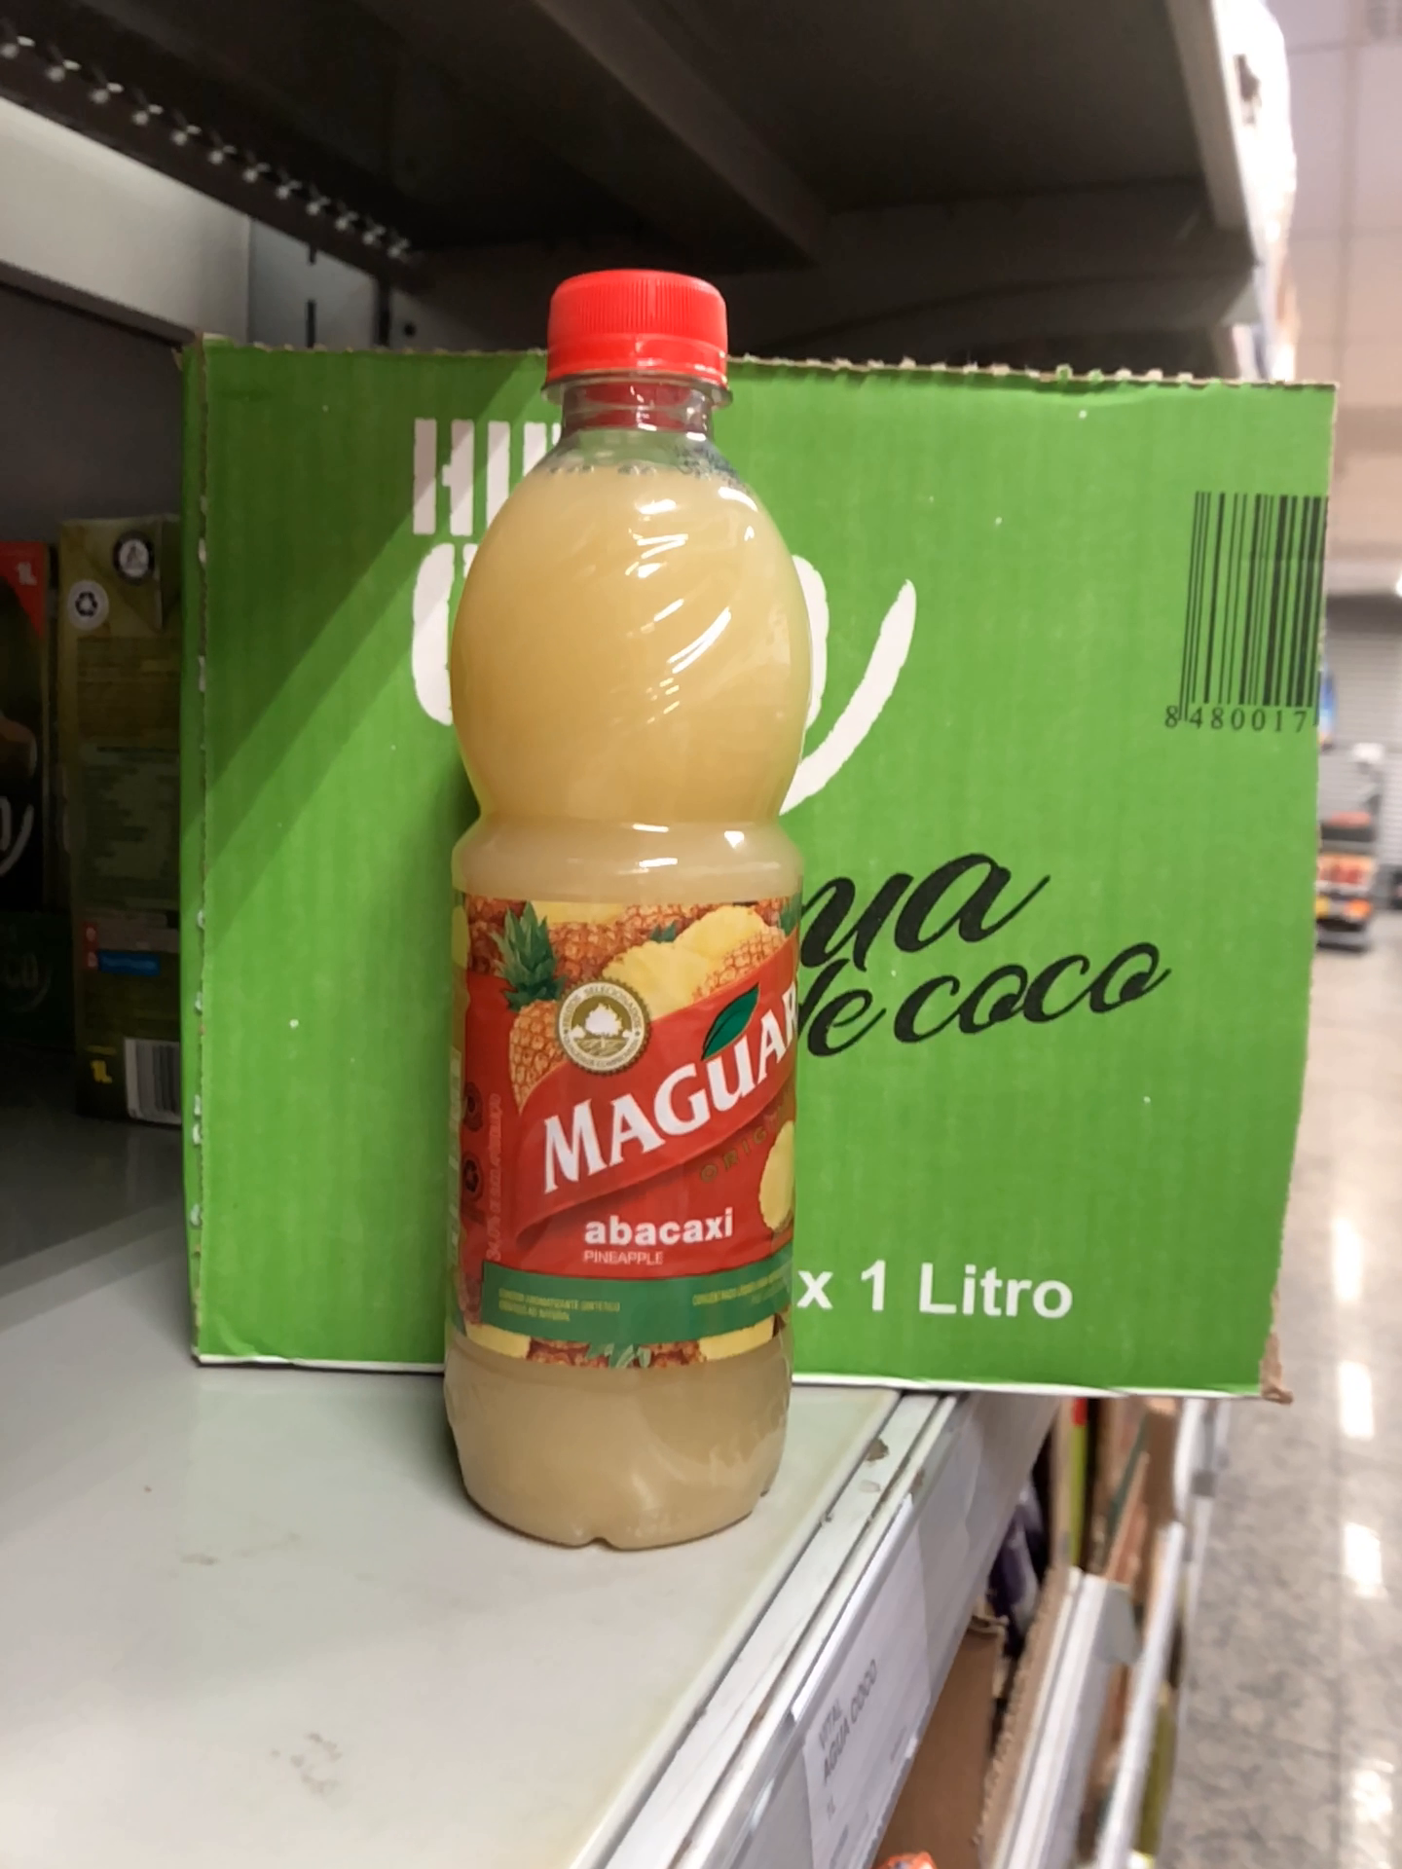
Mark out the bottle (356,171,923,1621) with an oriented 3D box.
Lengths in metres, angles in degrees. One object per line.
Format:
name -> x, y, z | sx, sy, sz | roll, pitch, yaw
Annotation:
bottle -> -0.015, -0.005, 0.267 | 0.070, 0.209, 0.060 | -1, 9, -27
